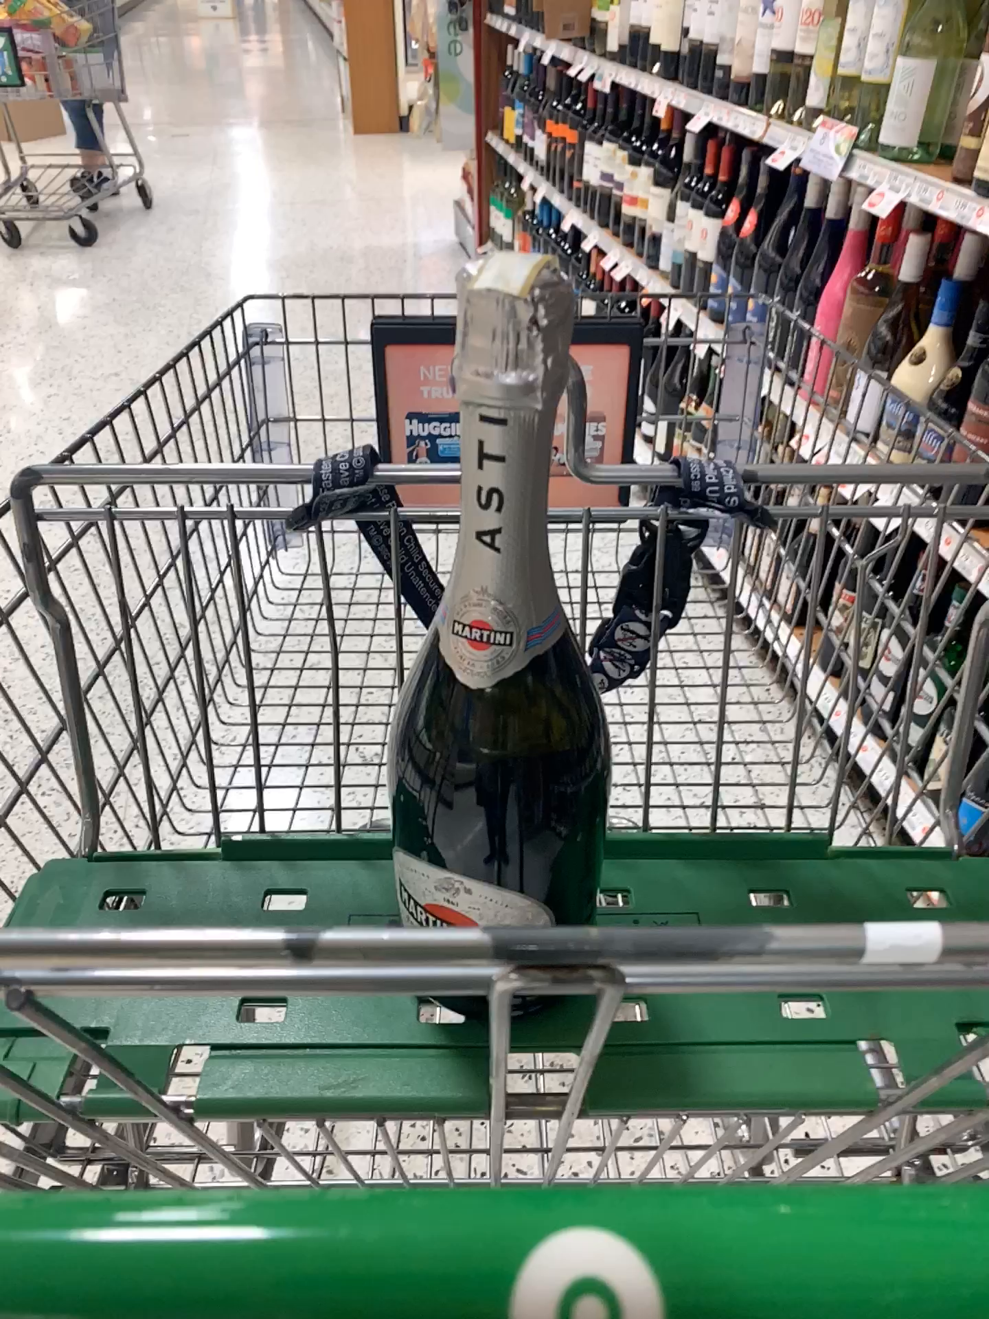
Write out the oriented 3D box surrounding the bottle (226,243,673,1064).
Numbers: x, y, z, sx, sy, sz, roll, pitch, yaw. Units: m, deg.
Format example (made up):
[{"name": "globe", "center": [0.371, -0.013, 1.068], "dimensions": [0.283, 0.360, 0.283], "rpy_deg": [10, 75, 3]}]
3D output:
[{"name": "bottle", "center": [-0.009, 0.009, 0.386], "dimensions": [0.100, 0.287, 0.101], "rpy_deg": [0, 35, 0]}]
